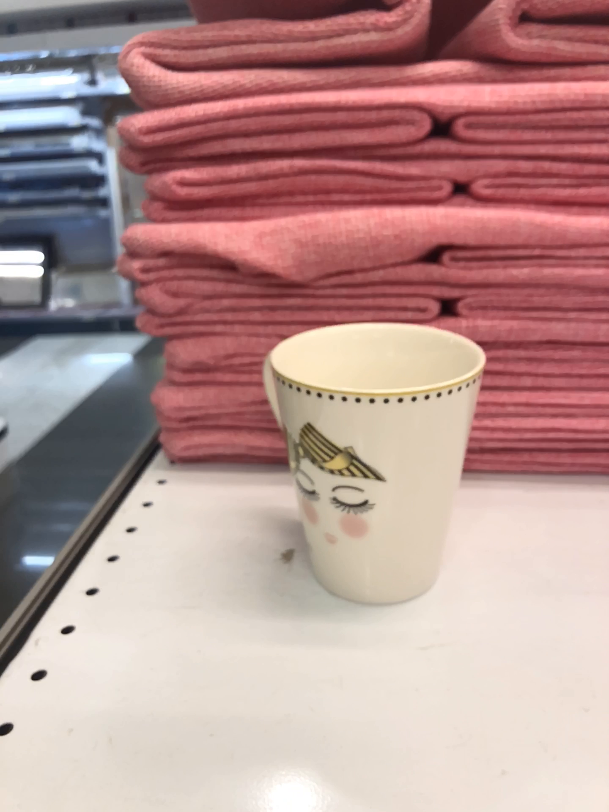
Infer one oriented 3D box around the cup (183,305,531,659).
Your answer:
[{"bbox_3d":[0.024,0.021,0.300,0.110,0.099,0.090,15,28,39],"label":"cup"}]
